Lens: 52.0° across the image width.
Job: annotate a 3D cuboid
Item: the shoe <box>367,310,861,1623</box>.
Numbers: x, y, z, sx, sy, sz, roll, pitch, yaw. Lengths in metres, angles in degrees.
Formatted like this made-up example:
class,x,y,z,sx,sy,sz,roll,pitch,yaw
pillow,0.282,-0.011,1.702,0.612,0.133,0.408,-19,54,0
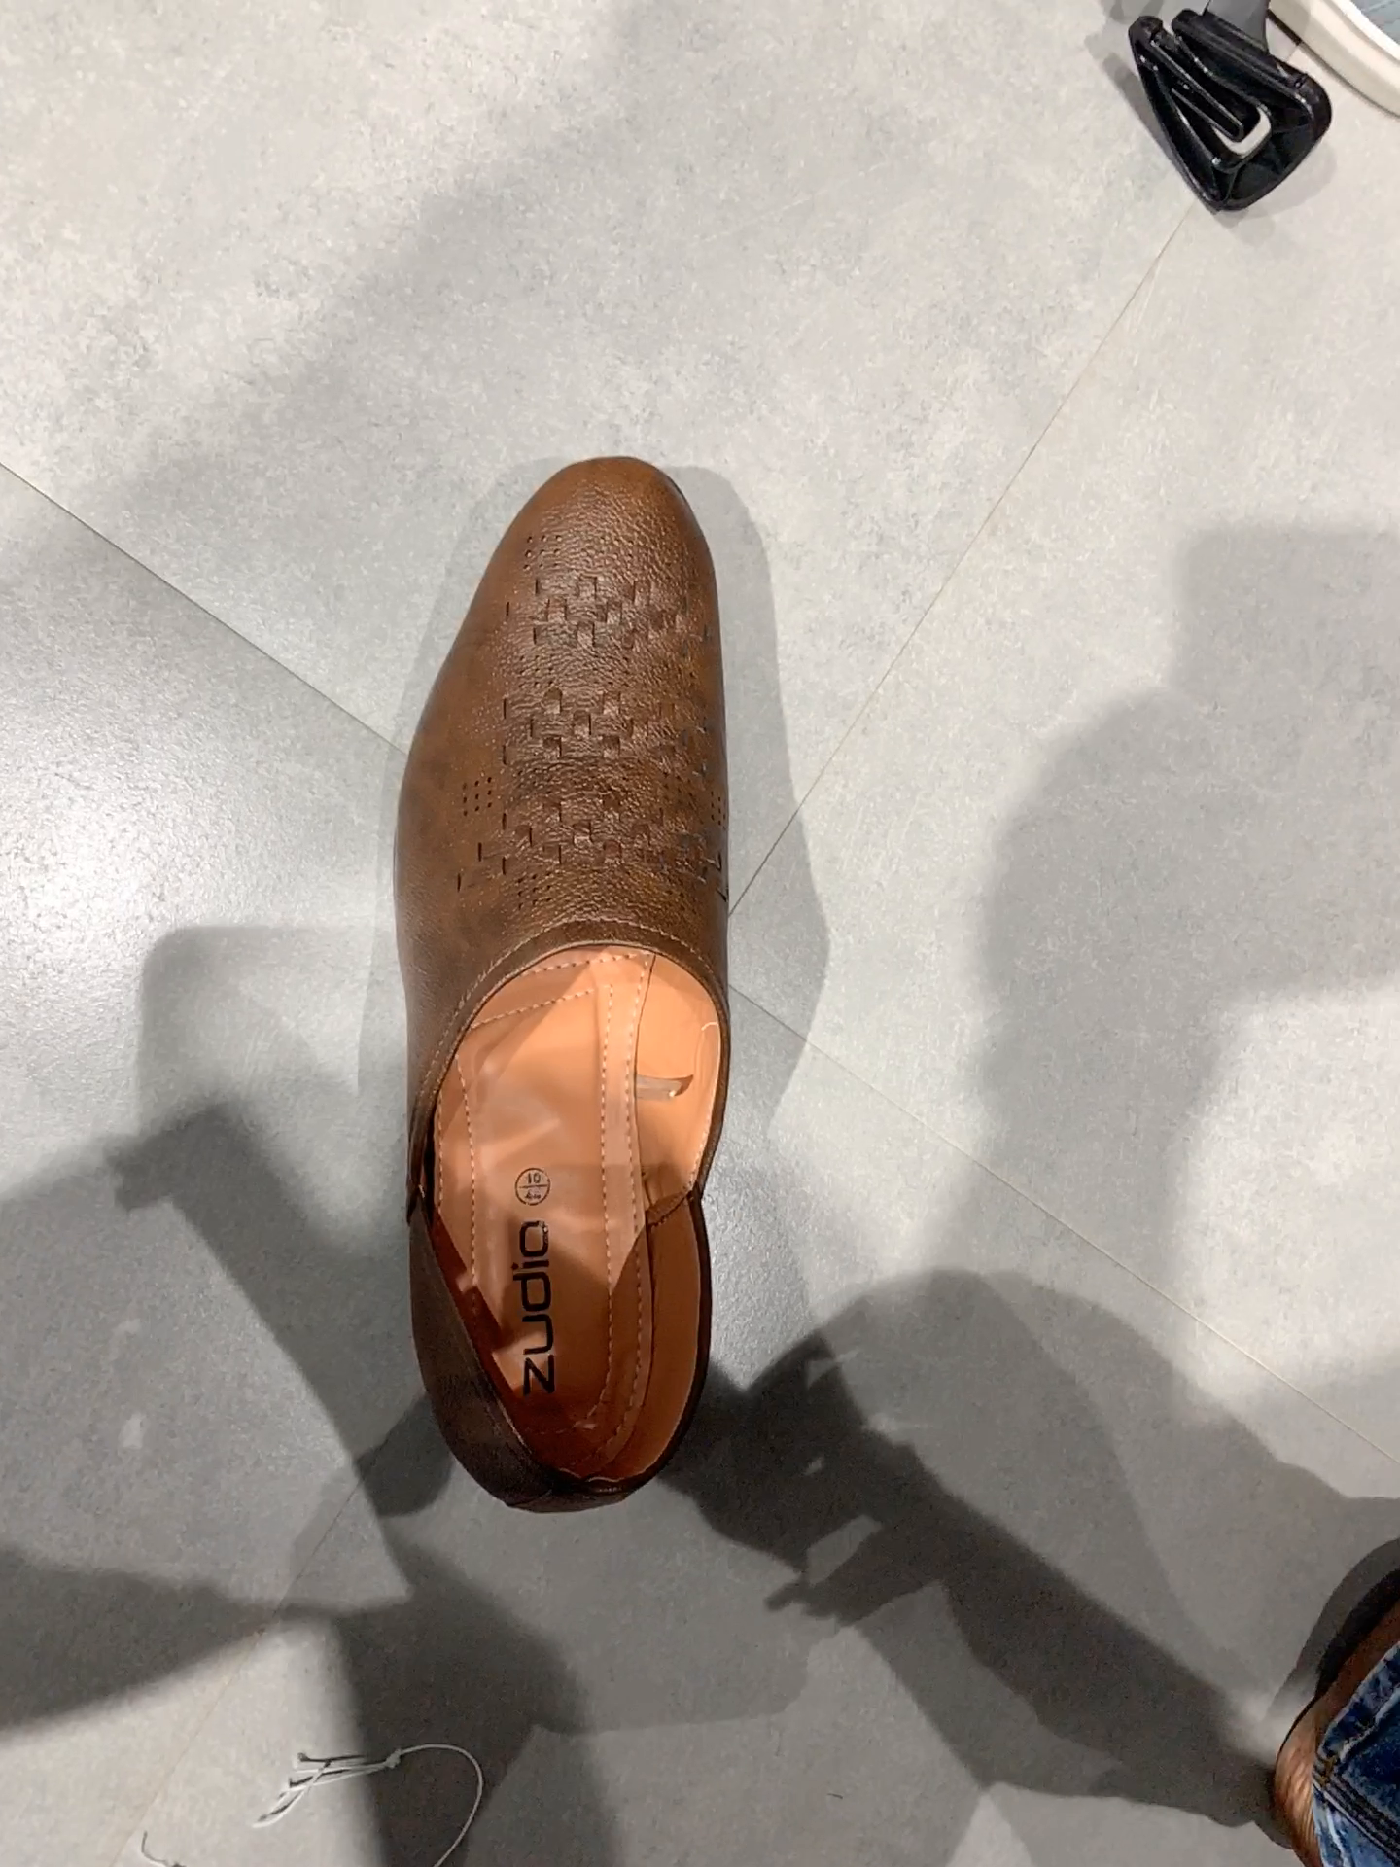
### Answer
class,x,y,z,sx,sy,sz,roll,pitch,yaw
shoe,-0.029,0.008,0.385,0.100,0.110,0.290,2,90,-18
